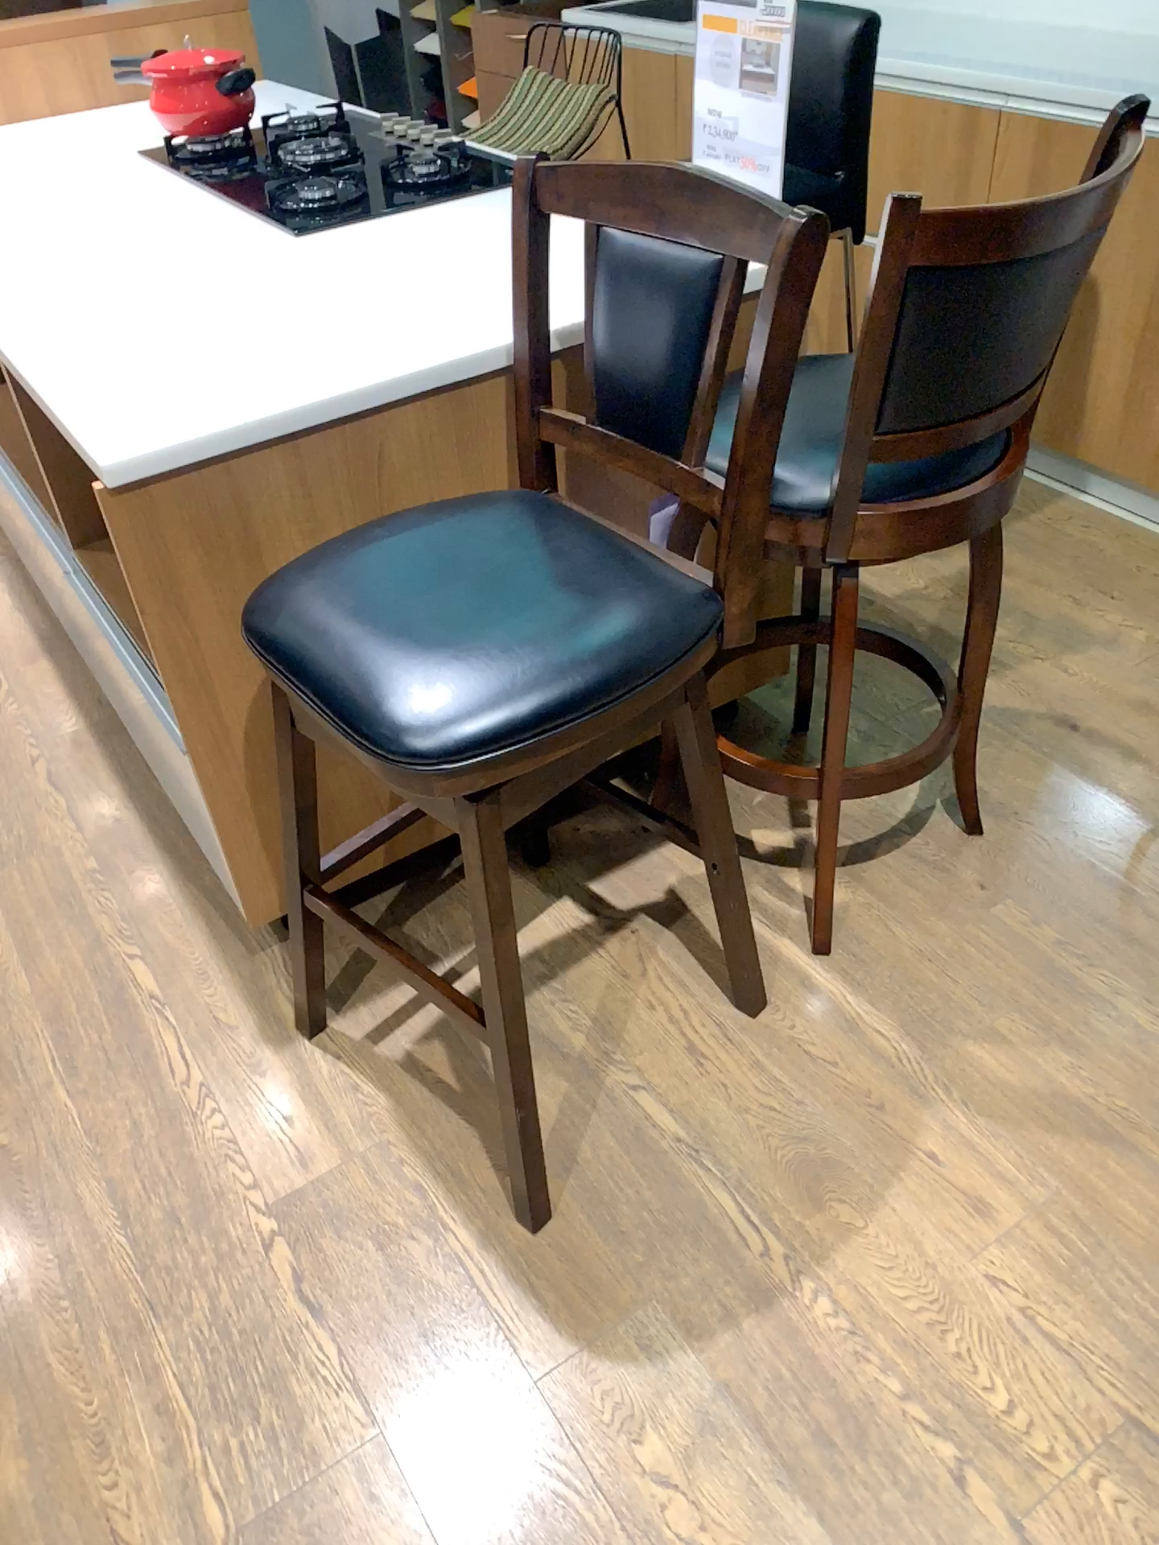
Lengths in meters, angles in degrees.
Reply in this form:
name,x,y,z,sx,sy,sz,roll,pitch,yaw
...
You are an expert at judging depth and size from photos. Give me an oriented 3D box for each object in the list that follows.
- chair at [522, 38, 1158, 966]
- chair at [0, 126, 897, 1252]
name,x,y,z,sx,sy,sz,roll,pitch,yaw
chair,0.355,-0.374,1.658,0.551,1.026,0.572,-28,44,-26
chair,-0.094,-0.095,1.370,0.581,1.026,0.571,29,50,34
